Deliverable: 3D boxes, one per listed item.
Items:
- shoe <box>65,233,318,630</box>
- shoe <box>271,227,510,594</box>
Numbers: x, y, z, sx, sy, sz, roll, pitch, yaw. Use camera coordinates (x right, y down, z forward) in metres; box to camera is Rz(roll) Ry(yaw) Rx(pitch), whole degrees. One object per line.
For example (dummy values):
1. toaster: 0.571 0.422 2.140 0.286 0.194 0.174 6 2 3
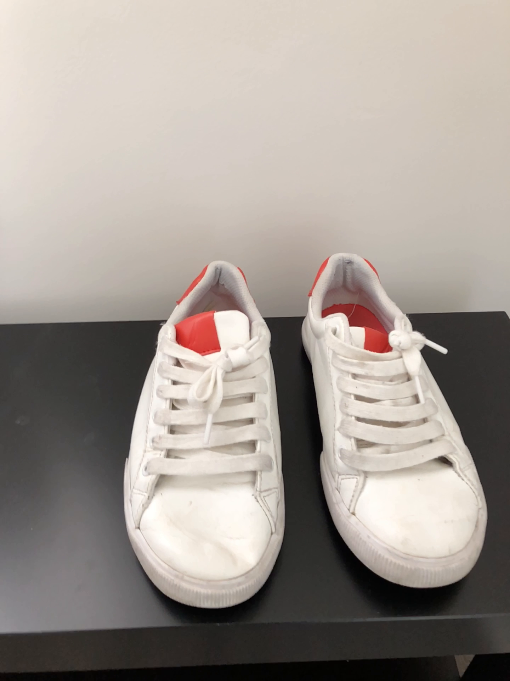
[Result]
1. shoe: -0.037 0.032 0.343 0.102 0.080 0.236 -3 41 -5
2. shoe: 0.075 0.023 0.356 0.100 0.080 0.231 -3 41 -5
